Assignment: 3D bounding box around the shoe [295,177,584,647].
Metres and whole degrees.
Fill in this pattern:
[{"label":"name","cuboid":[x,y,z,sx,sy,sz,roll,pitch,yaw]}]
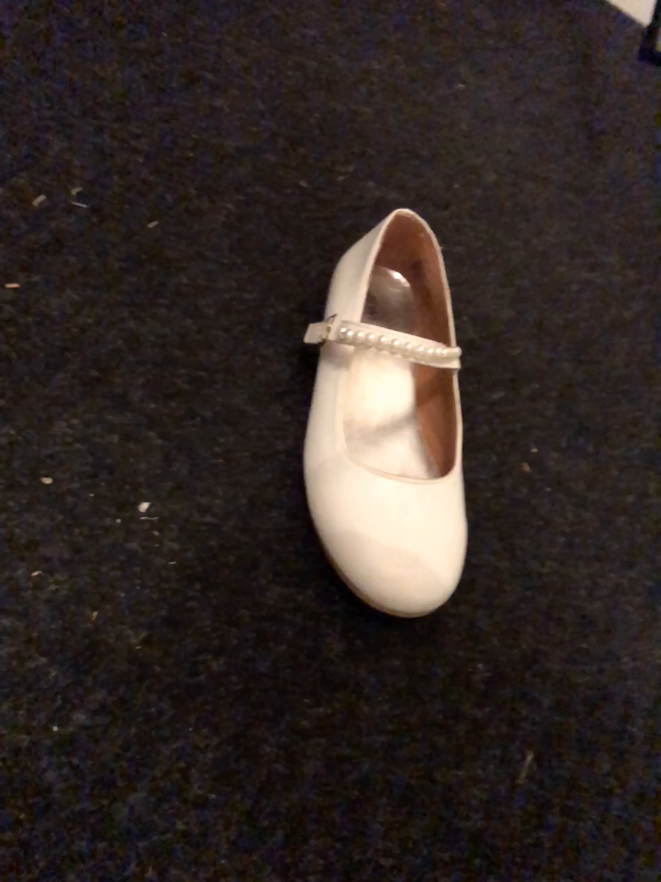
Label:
[{"label":"shoe","cuboid":[0.036,-0.019,0.345,0.080,0.080,0.200,11,51,-19]}]
